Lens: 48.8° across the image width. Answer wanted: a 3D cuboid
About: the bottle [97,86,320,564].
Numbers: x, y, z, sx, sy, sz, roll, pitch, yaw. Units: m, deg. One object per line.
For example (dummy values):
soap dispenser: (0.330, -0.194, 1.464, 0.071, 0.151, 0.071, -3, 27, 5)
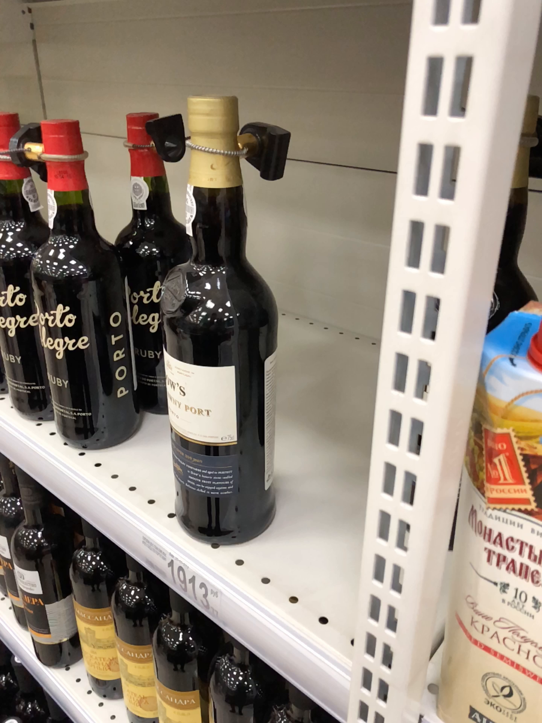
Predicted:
bottle: (-0.037, -0.023, 0.404, 0.090, 0.296, 0.090, 0, 25, 0)
